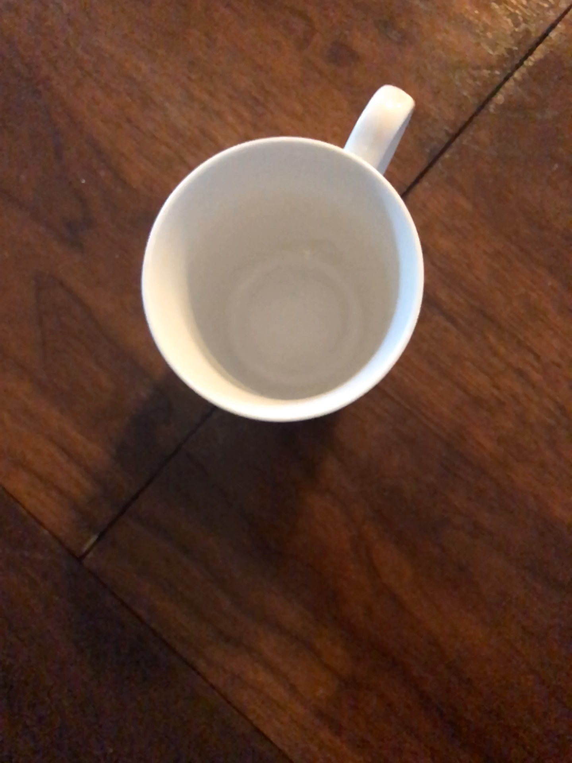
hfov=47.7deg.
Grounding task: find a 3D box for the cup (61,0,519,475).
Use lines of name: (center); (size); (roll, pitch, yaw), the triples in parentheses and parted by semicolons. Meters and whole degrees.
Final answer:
cup: (0.003, -0.053, 0.249); (0.100, 0.080, 0.140); (24, 89, 5)
